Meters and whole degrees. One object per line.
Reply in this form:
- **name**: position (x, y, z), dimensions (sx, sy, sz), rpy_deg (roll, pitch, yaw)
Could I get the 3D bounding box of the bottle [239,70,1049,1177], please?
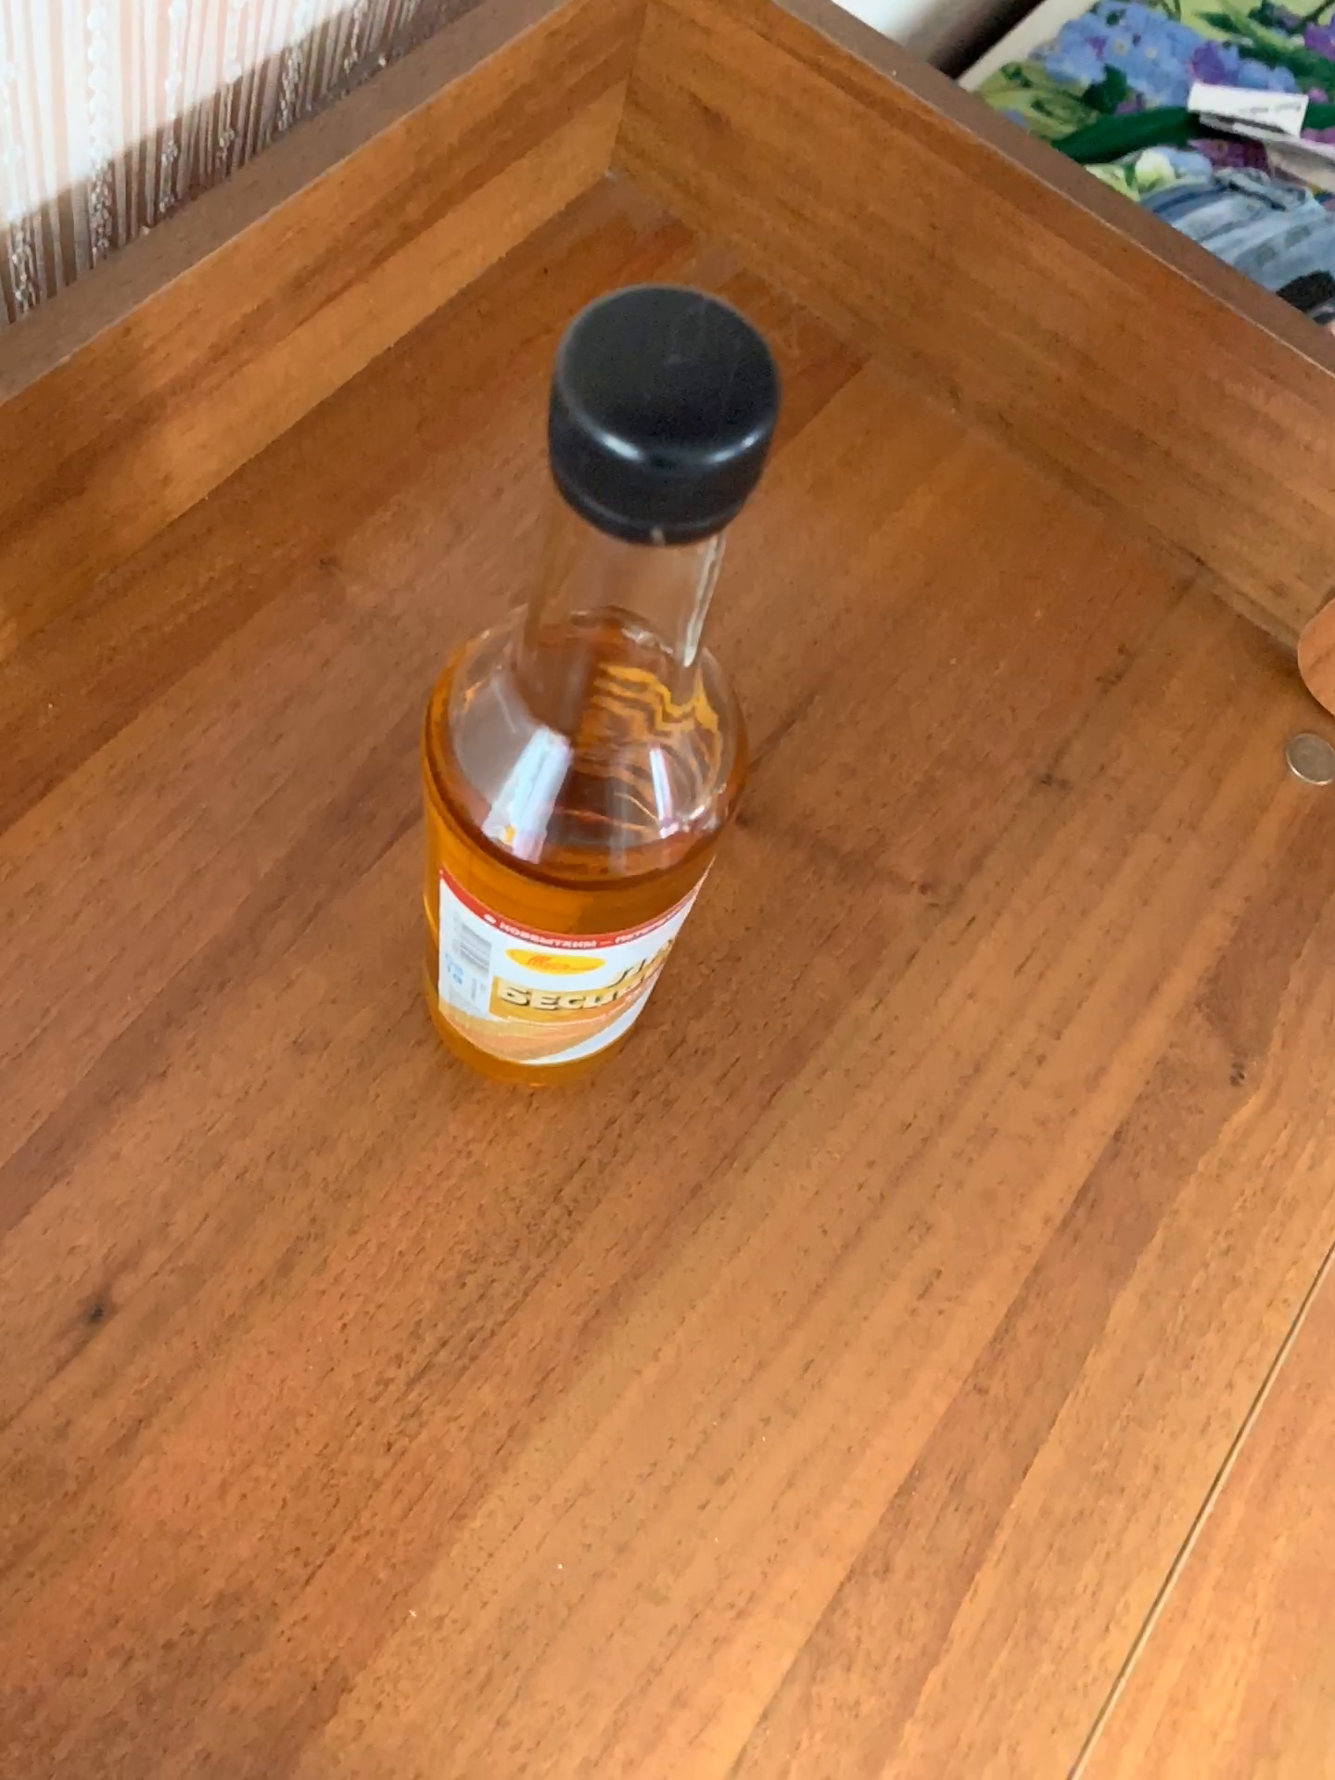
- **bottle**: position (-0.022, -0.019, 0.293), dimensions (0.070, 0.259, 0.080), rpy_deg (42, 66, 8)
